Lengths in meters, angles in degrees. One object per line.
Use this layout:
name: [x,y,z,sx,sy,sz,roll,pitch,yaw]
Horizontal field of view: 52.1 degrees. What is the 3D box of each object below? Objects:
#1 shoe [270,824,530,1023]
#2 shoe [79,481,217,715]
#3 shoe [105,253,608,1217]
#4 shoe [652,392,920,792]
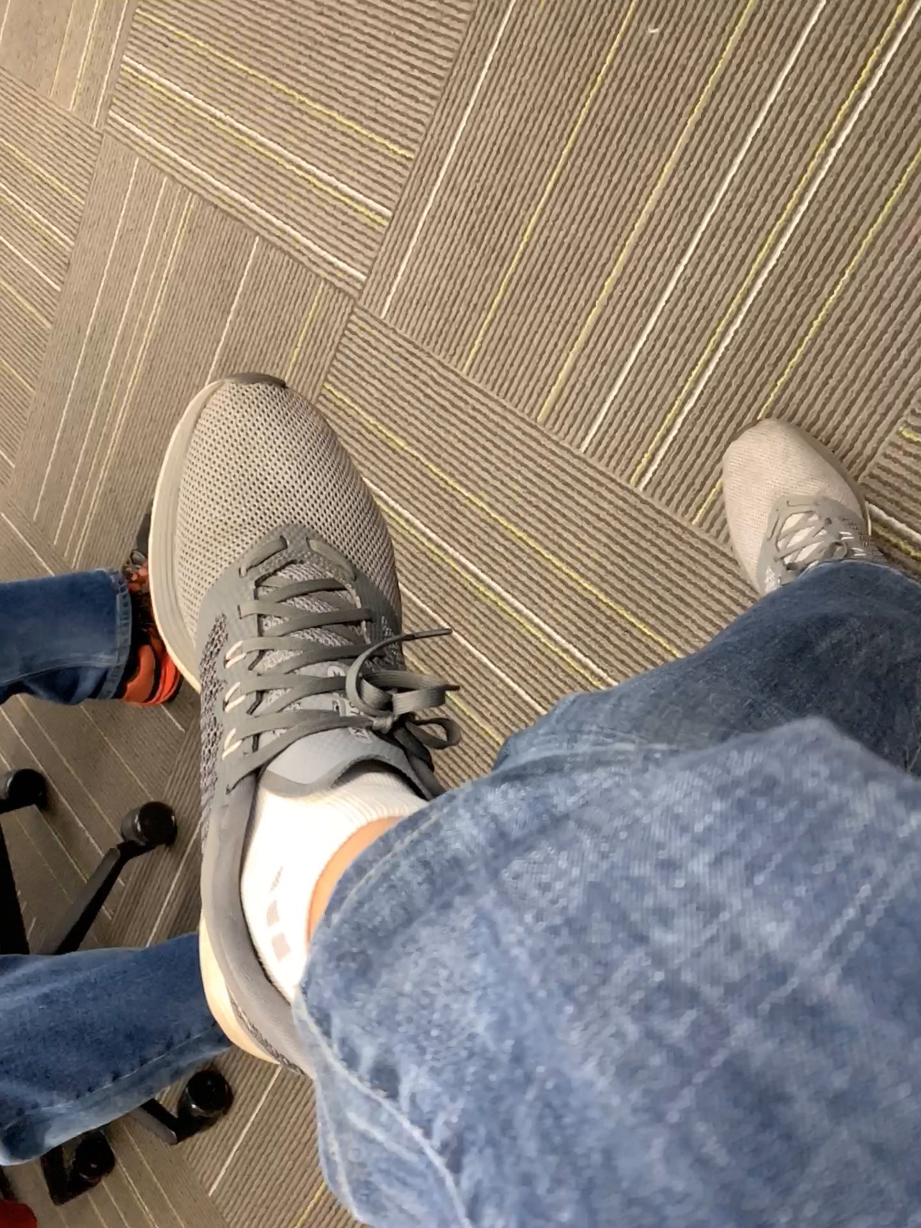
shoe: [-0.076,0.361,1.102,0.278,0.116,0.112,-37,63,27]
shoe: [-0.431,-0.022,1.293,0.113,0.107,0.294,21,101,55]
shoe: [-0.055,0.033,0.371,0.143,0.115,0.294,146,114,-70]
shoe: [0.292,-0.022,0.748,0.117,0.074,0.293,-42,69,32]
